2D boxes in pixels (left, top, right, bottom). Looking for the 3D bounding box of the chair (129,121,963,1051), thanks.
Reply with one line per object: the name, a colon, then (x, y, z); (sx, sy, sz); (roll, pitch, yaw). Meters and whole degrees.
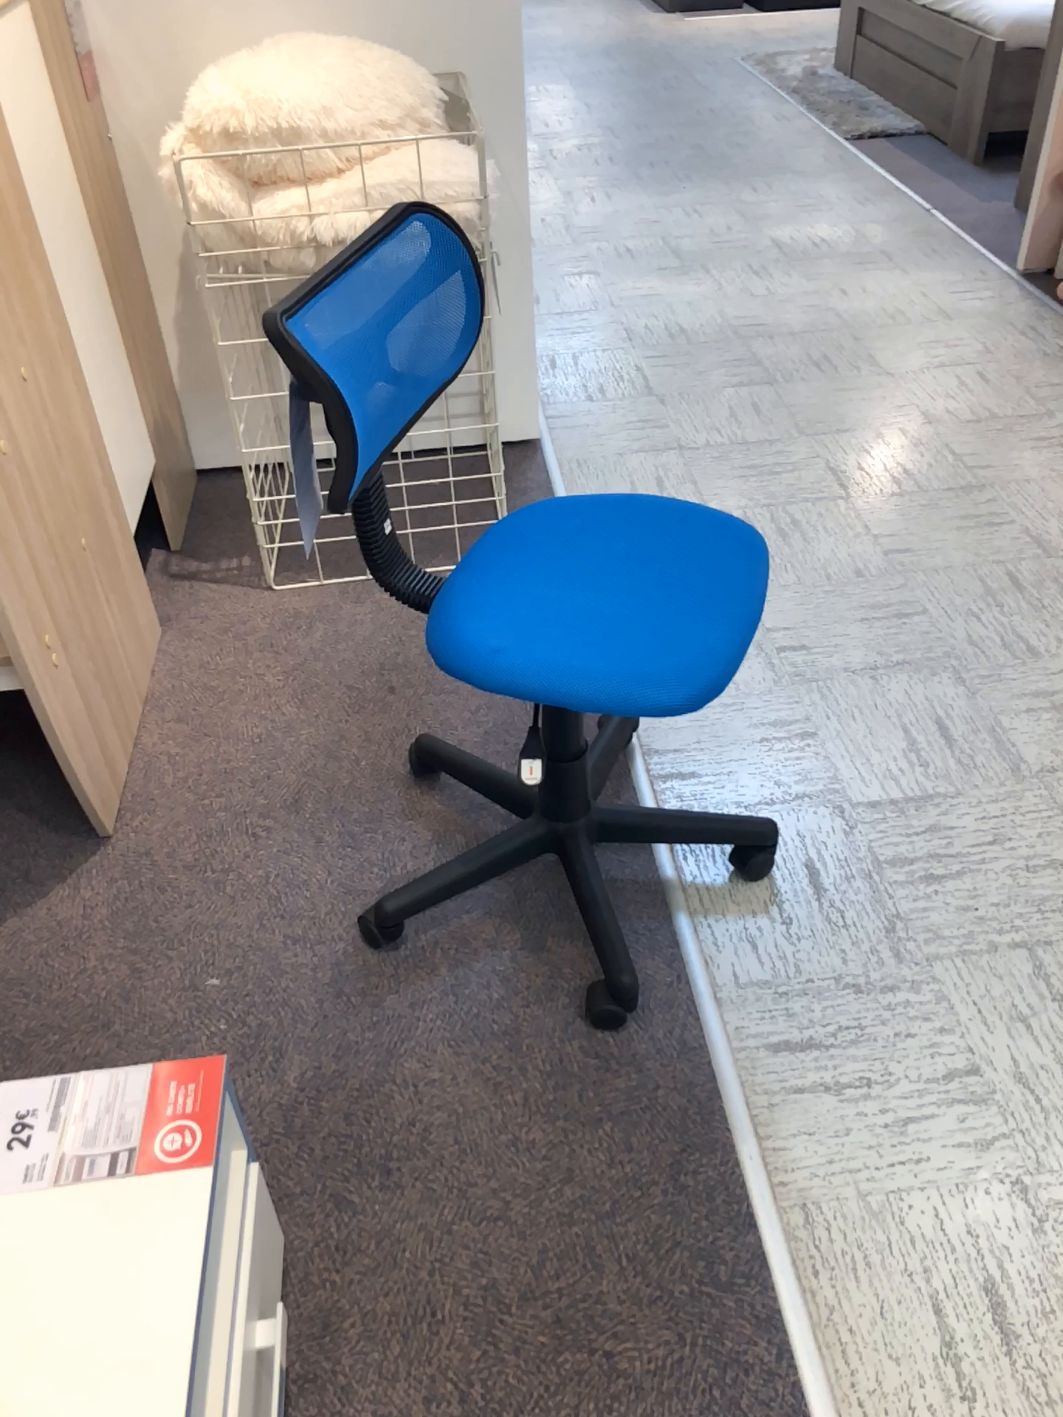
chair: (0.070, -0.164, 1.334); (0.610, 0.795, 0.665); (5, 39, 10)
